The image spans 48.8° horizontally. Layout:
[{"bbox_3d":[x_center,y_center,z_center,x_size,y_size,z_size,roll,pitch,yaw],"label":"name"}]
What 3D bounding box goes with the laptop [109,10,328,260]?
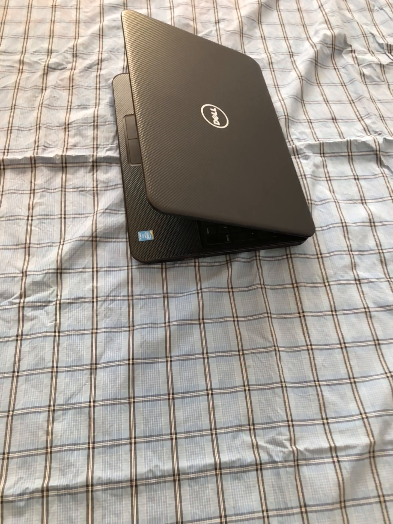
[{"bbox_3d":[0.008,-0.192,0.610,0.223,0.099,0.352,-7,63,-6],"label":"laptop"}]
